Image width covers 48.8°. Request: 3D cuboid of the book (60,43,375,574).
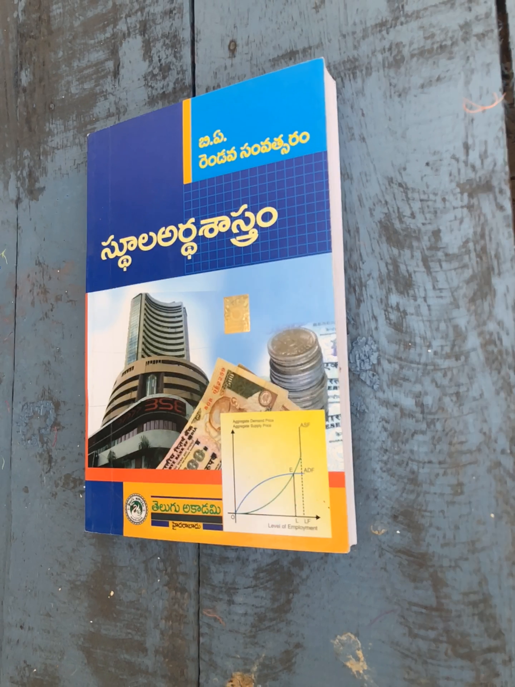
[{"bbox_3d":[-0.032,-0.014,0.315,0.170,0.030,0.250,-5,85,25],"label":"book"}]
